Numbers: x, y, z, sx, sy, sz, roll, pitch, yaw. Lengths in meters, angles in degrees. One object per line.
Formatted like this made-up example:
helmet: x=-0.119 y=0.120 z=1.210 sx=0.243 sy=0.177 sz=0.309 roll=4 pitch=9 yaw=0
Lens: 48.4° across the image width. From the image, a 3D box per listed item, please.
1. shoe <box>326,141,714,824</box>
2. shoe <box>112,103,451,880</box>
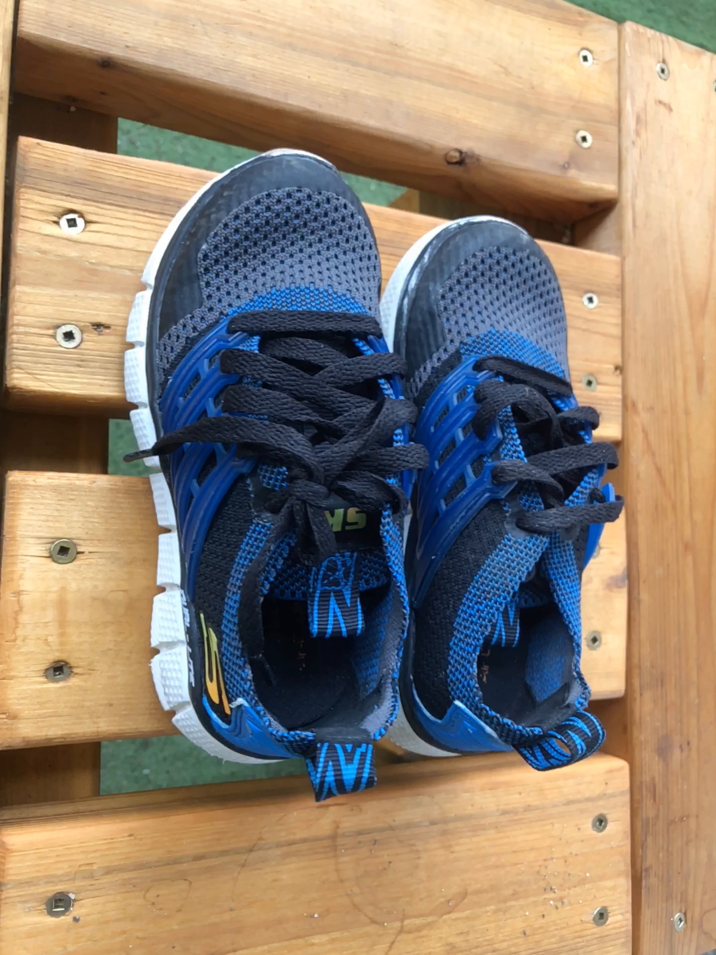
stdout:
shoe: x=0.053 y=0.004 z=0.282 sx=0.080 sy=0.100 sz=0.190 roll=7 pitch=84 yaw=-25
shoe: x=-0.030 y=0.004 z=0.267 sx=0.080 sy=0.100 sz=0.200 roll=2 pitch=86 yaw=-25
